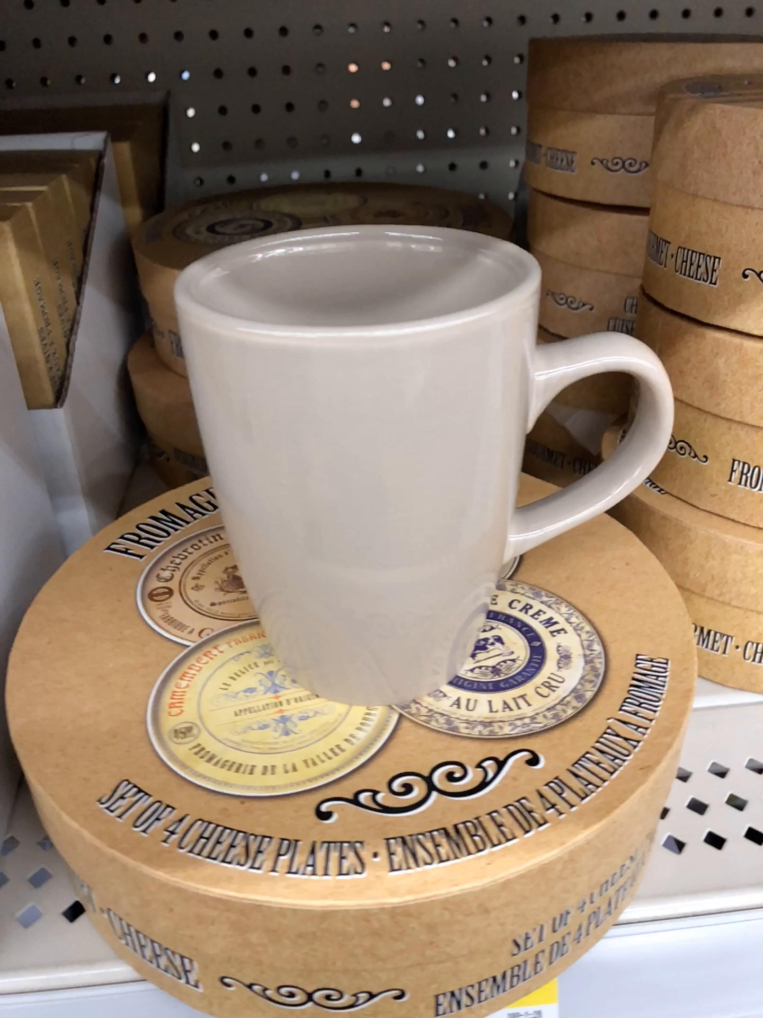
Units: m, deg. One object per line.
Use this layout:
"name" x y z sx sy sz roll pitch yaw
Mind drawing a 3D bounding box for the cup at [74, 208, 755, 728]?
"cup" 0.007 -0.015 0.227 0.130 0.100 0.090 -3 31 -1
